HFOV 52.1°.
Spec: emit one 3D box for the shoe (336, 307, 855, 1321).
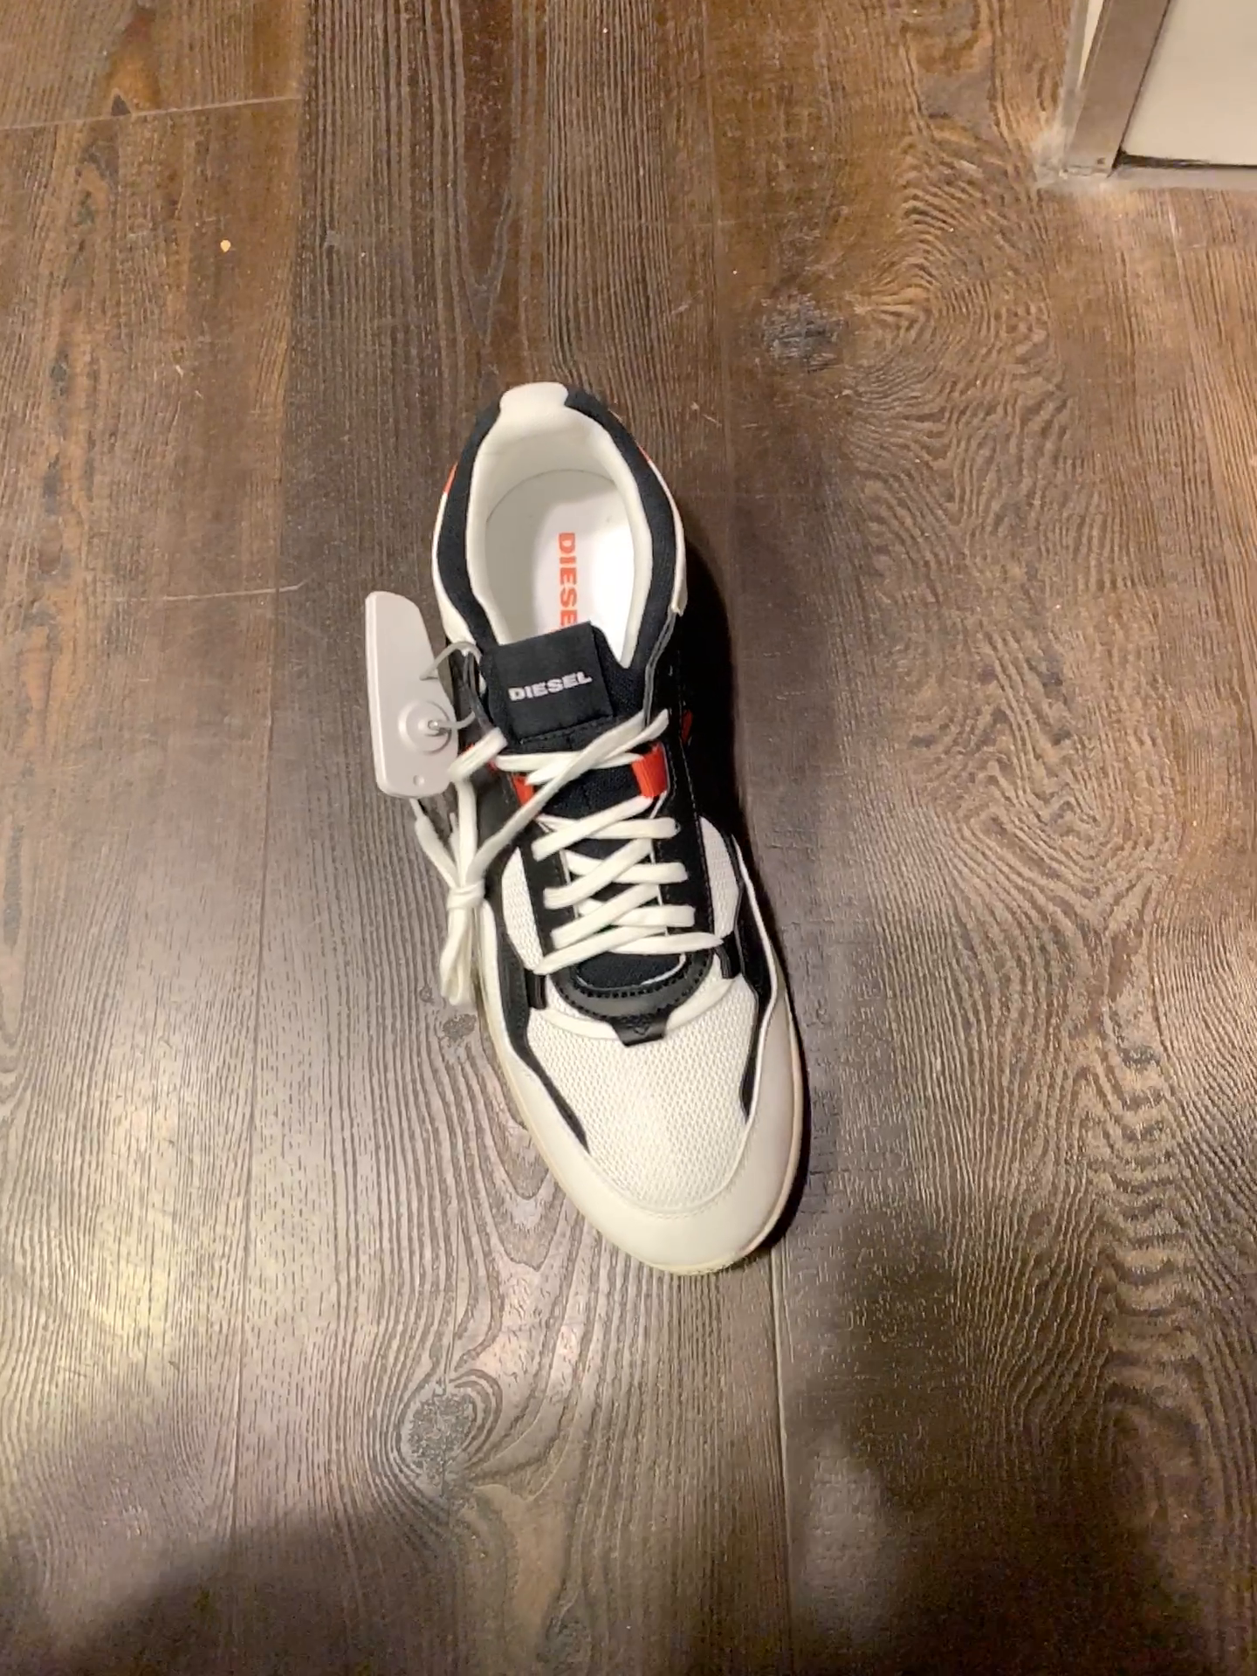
[{"bbox_3d":[-0.013,-0.008,0.438,0.110,0.110,0.301,-11,74,3],"label":"shoe"}]
